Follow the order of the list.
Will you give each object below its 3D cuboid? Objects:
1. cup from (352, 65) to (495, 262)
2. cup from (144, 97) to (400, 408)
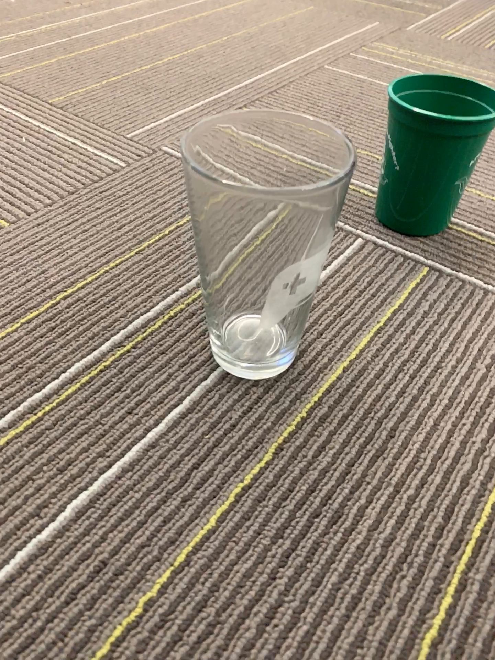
[{"bbox_3d":[0.150,-0.137,0.421,0.080,0.119,0.070,35,54,29],"label":"cup"},{"bbox_3d":[0.014,-0.043,0.281,0.090,0.119,0.090,1,45,-1],"label":"cup"}]
